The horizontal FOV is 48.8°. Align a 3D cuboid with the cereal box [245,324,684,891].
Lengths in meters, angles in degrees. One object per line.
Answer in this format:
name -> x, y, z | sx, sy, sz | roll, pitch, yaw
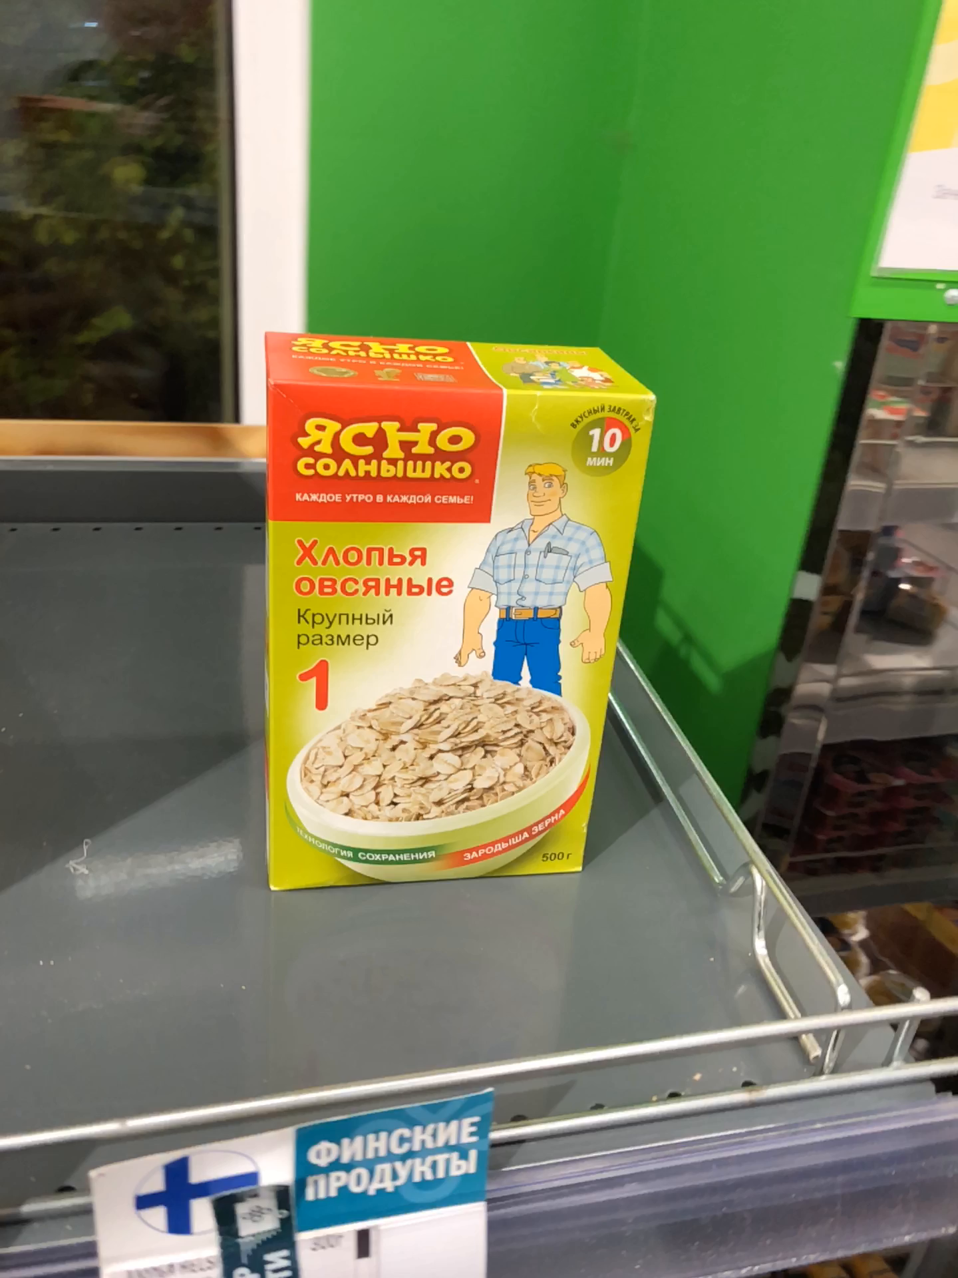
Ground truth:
cereal box -> -0.017, -0.010, 0.382 | 0.130, 0.179, 0.080 | 0, 27, -13
